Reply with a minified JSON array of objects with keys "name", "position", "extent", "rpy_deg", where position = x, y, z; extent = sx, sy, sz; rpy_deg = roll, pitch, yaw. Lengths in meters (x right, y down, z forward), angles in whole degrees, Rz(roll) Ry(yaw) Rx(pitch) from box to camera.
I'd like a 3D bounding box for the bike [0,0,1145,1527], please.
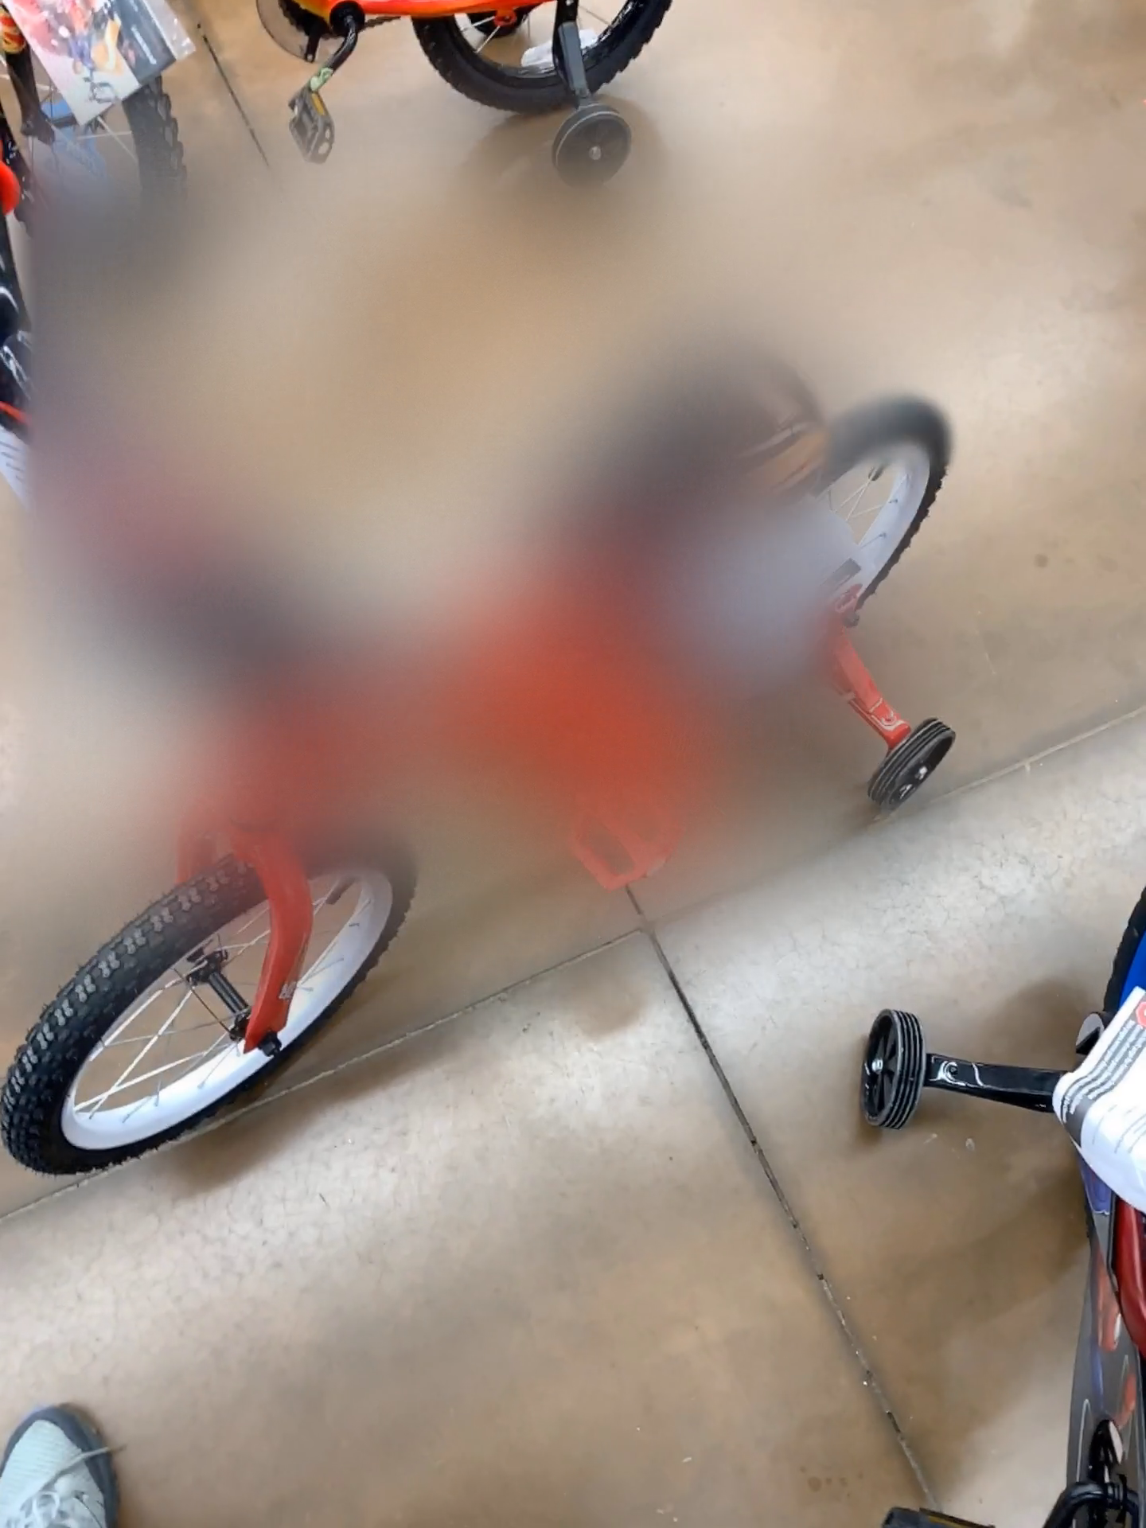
[{"name":"bike","position":[0.015,-0.074,0.923],"extent":[1.140,0.956,0.516],"rpy_deg":[-37,69,-20]}]
